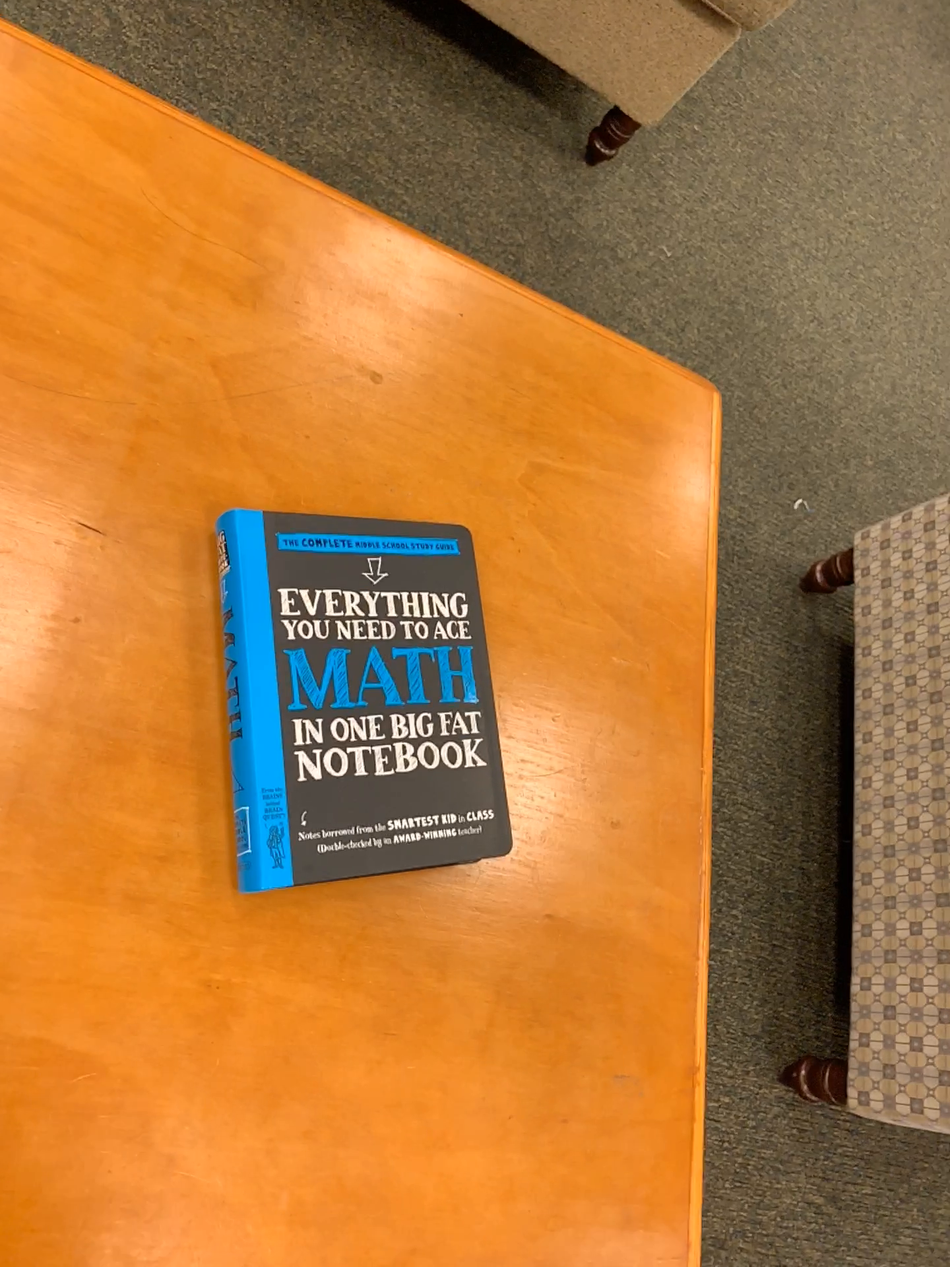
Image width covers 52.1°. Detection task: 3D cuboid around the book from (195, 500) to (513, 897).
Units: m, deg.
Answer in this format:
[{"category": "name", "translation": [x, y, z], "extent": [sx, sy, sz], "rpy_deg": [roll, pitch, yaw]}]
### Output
[{"category": "book", "translation": [-0.071, 0.034, 0.566], "extent": [0.160, 0.040, 0.210], "rpy_deg": [1, 74, -30]}]
